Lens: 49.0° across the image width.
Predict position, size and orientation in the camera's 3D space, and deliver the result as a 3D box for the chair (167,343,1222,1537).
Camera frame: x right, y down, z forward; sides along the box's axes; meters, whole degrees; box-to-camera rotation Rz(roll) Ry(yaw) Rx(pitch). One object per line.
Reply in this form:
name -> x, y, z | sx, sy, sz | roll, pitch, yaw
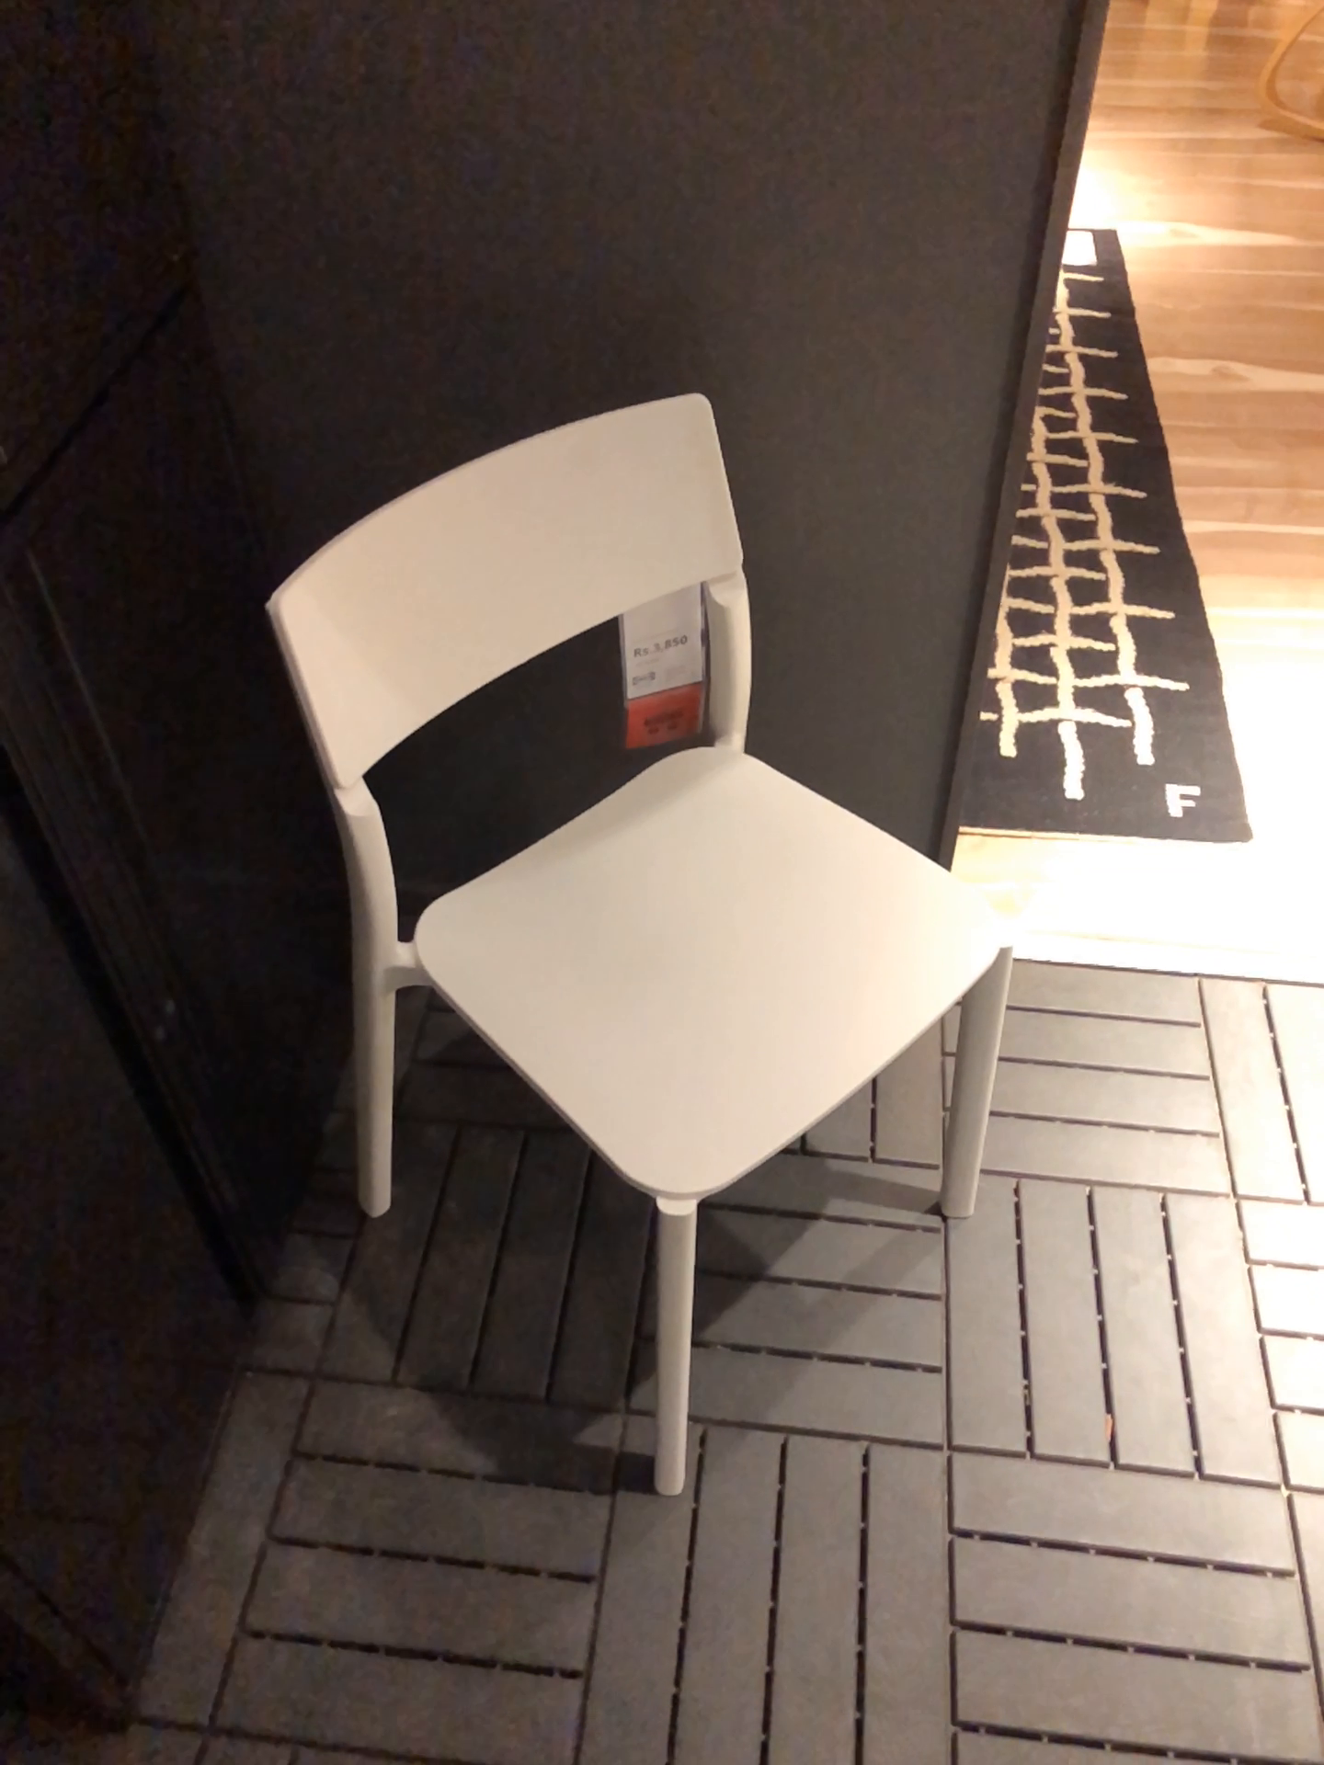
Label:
chair -> 0.023, 0.053, 1.197 | 0.501, 0.705, 0.472 | -34, 54, -28
